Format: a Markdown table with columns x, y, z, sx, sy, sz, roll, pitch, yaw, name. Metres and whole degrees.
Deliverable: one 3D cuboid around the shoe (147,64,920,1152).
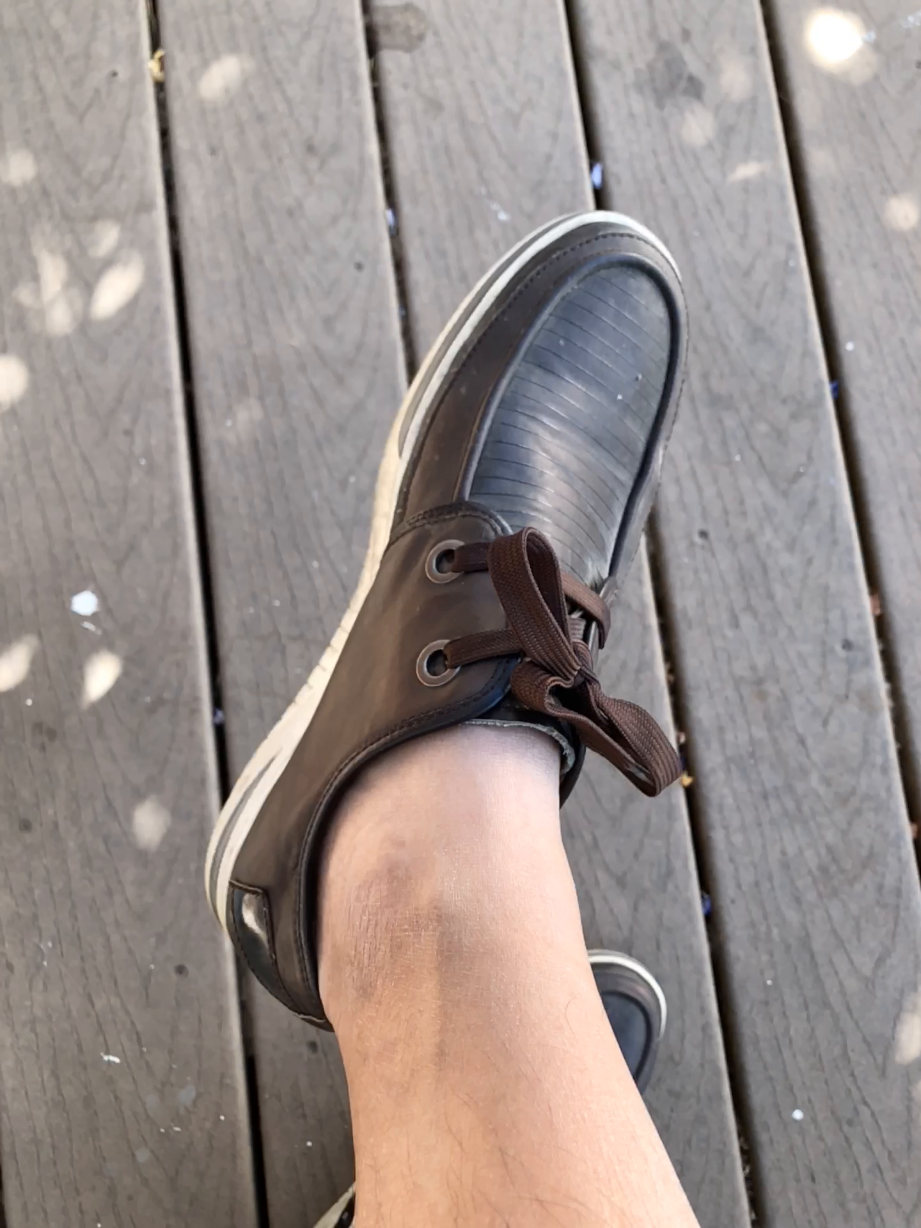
| x | y | z | sx | sy | sz | roll | pitch | yaw | name |
| --- | --- | --- | --- | --- | --- | --- | --- | --- | --- |
| 0.017 | 0.001 | 0.344 | 0.119 | 0.104 | 0.295 | 26 | 90 | -22 | shoe |
